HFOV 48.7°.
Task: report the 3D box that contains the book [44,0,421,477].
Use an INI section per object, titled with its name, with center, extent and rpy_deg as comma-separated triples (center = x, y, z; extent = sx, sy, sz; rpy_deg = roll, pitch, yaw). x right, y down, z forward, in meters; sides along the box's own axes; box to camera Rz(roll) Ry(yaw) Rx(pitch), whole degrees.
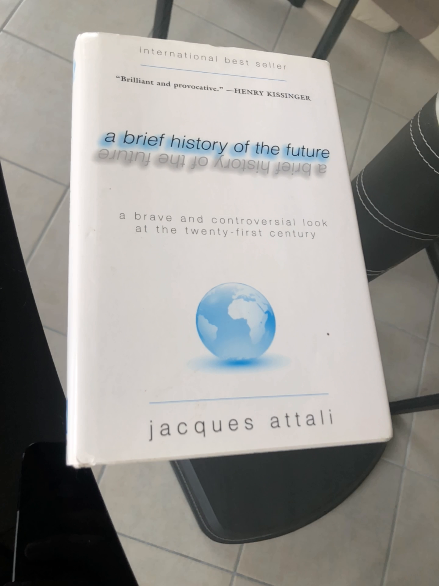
[book]
center = 0.002, -0.030, 0.234
extent = 0.150, 0.040, 0.210
rpy_deg = 1, 73, -14
